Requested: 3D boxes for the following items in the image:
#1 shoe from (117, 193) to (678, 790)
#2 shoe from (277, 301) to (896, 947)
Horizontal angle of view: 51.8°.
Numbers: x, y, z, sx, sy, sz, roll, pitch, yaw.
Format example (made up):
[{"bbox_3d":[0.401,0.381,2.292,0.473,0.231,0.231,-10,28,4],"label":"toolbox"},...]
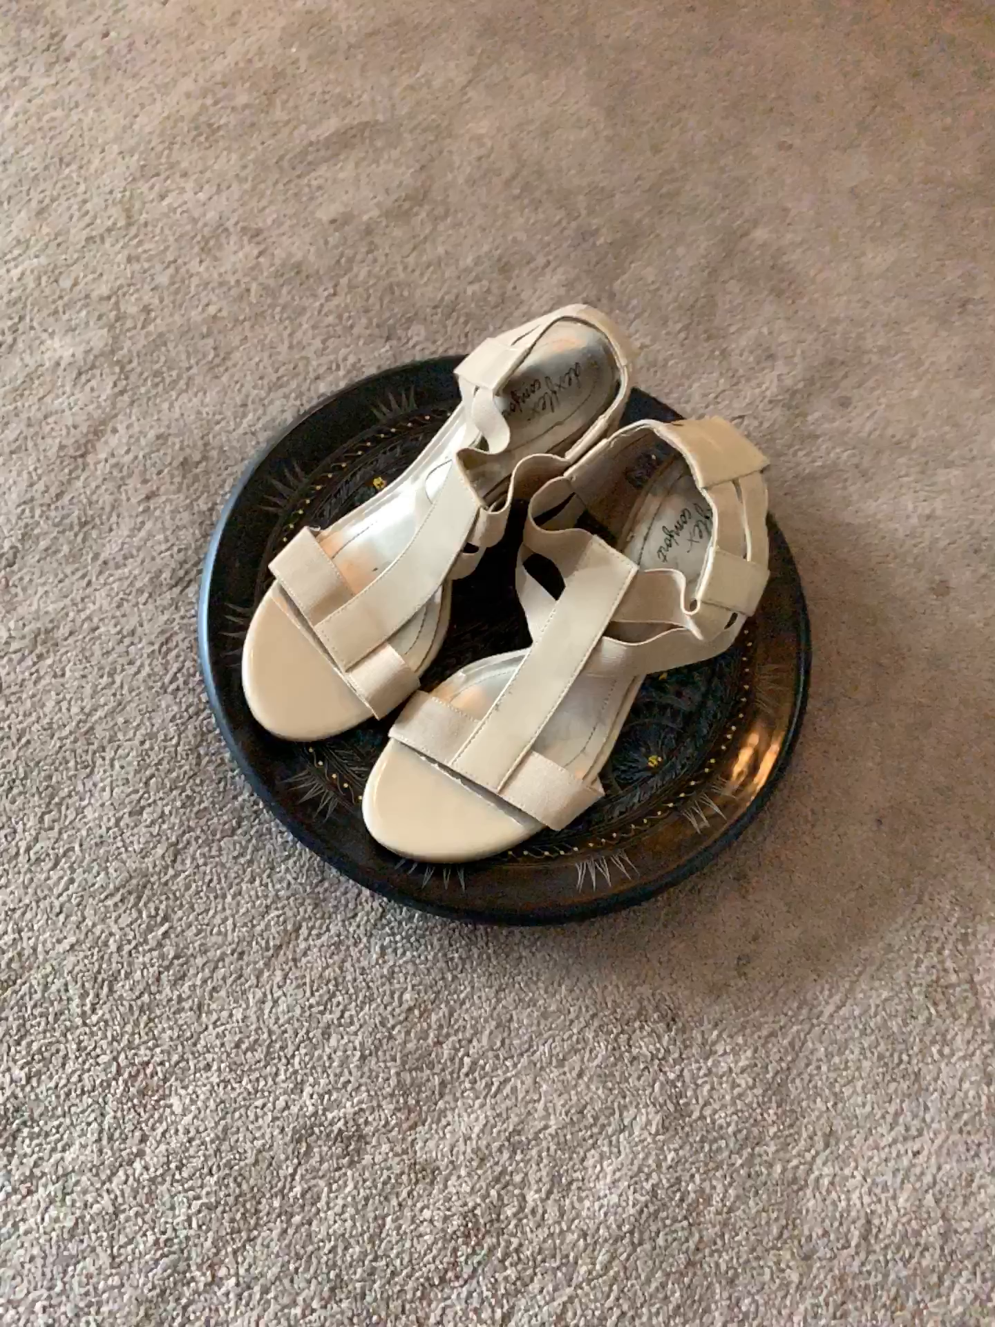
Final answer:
[{"bbox_3d":[-0.033,-0.072,0.427,0.090,0.100,0.221,36,68,8],"label":"shoe"},{"bbox_3d":[0.034,-0.016,0.397,0.100,0.100,0.221,40,69,9],"label":"shoe"}]
